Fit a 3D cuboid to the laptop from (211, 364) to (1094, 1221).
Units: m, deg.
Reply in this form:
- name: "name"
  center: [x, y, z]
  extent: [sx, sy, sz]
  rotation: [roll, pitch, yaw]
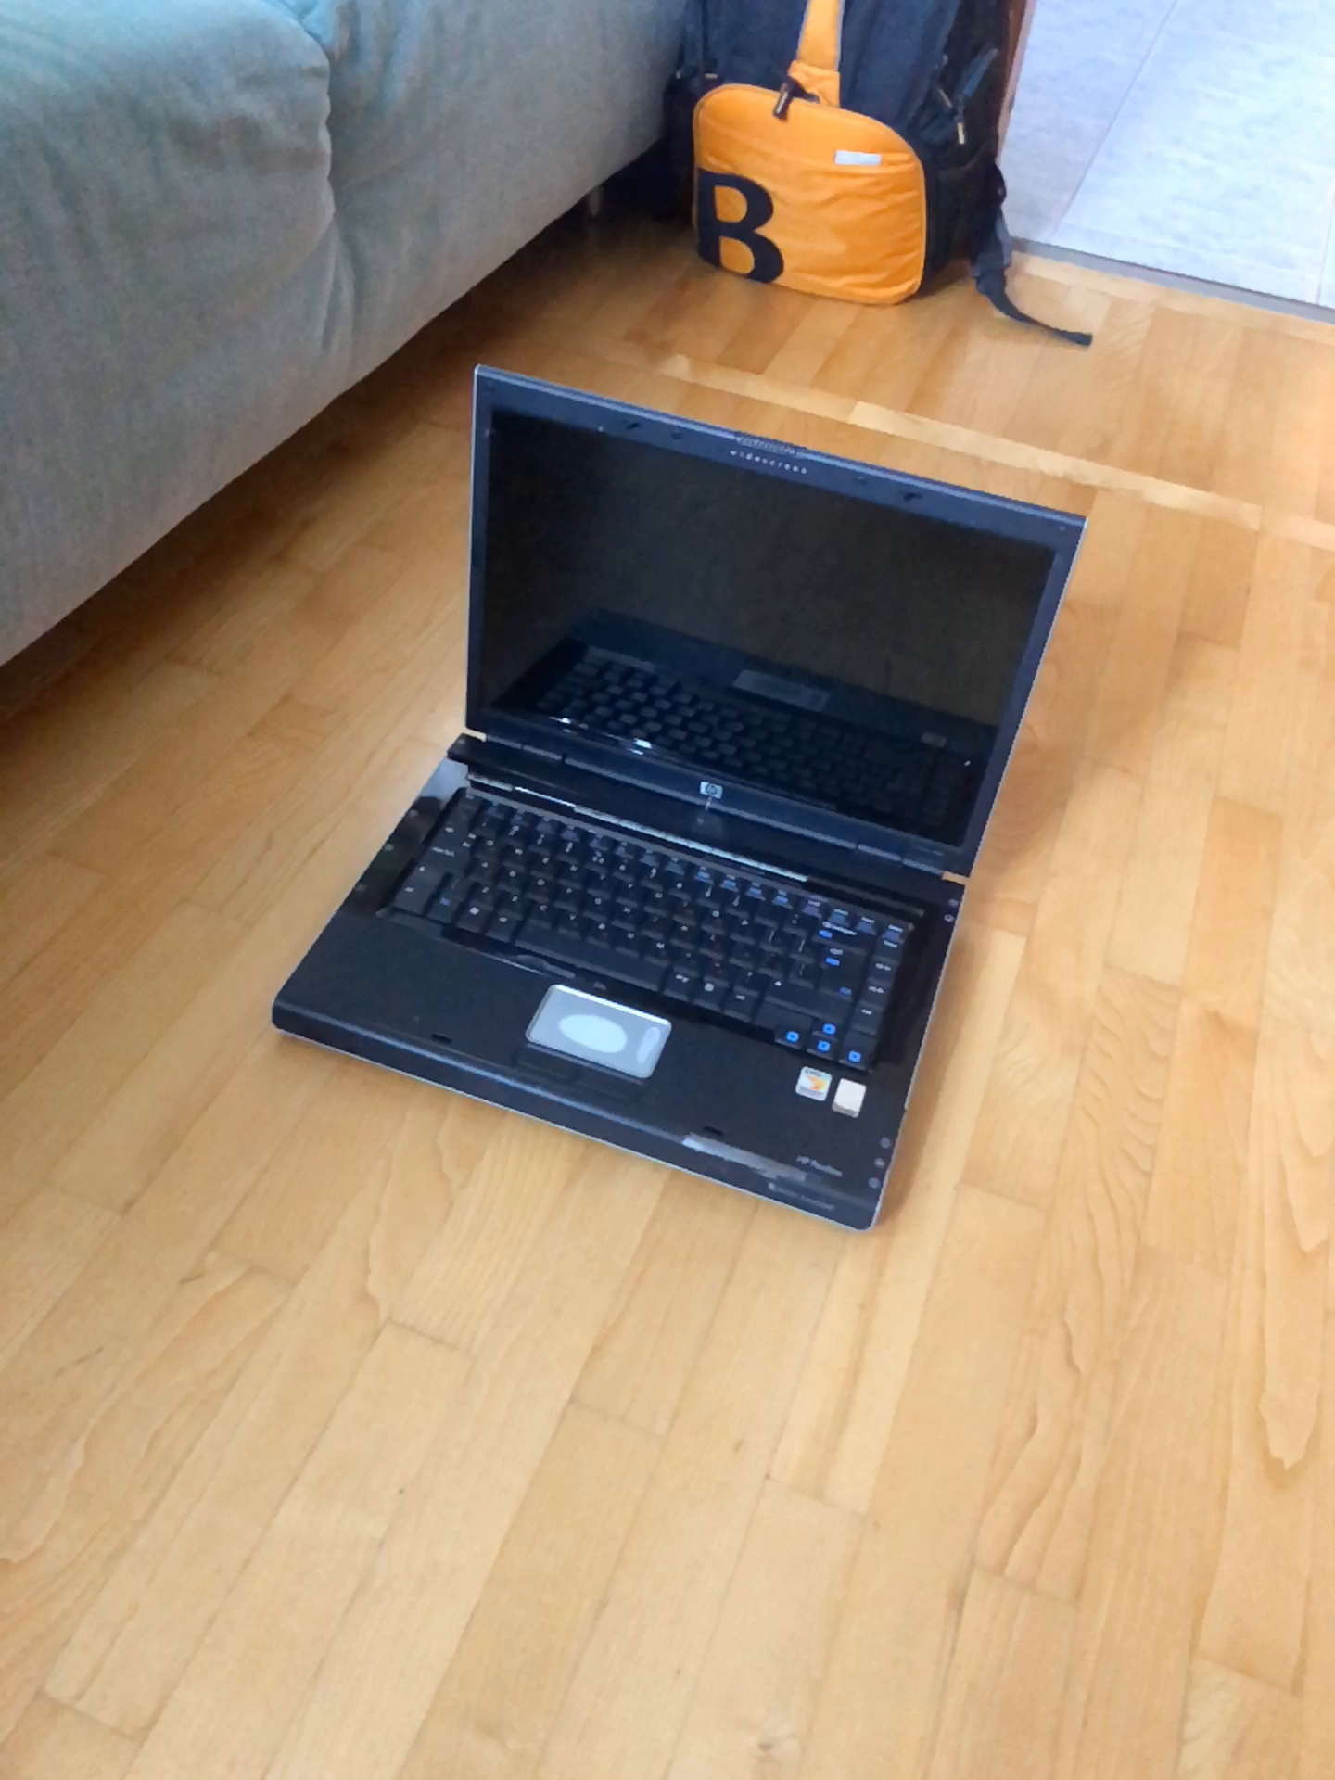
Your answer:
- name: "laptop"
  center: [0.002, -0.068, 0.829]
  extent: [0.363, 0.254, 0.308]
  rotation: [17, 47, 10]
